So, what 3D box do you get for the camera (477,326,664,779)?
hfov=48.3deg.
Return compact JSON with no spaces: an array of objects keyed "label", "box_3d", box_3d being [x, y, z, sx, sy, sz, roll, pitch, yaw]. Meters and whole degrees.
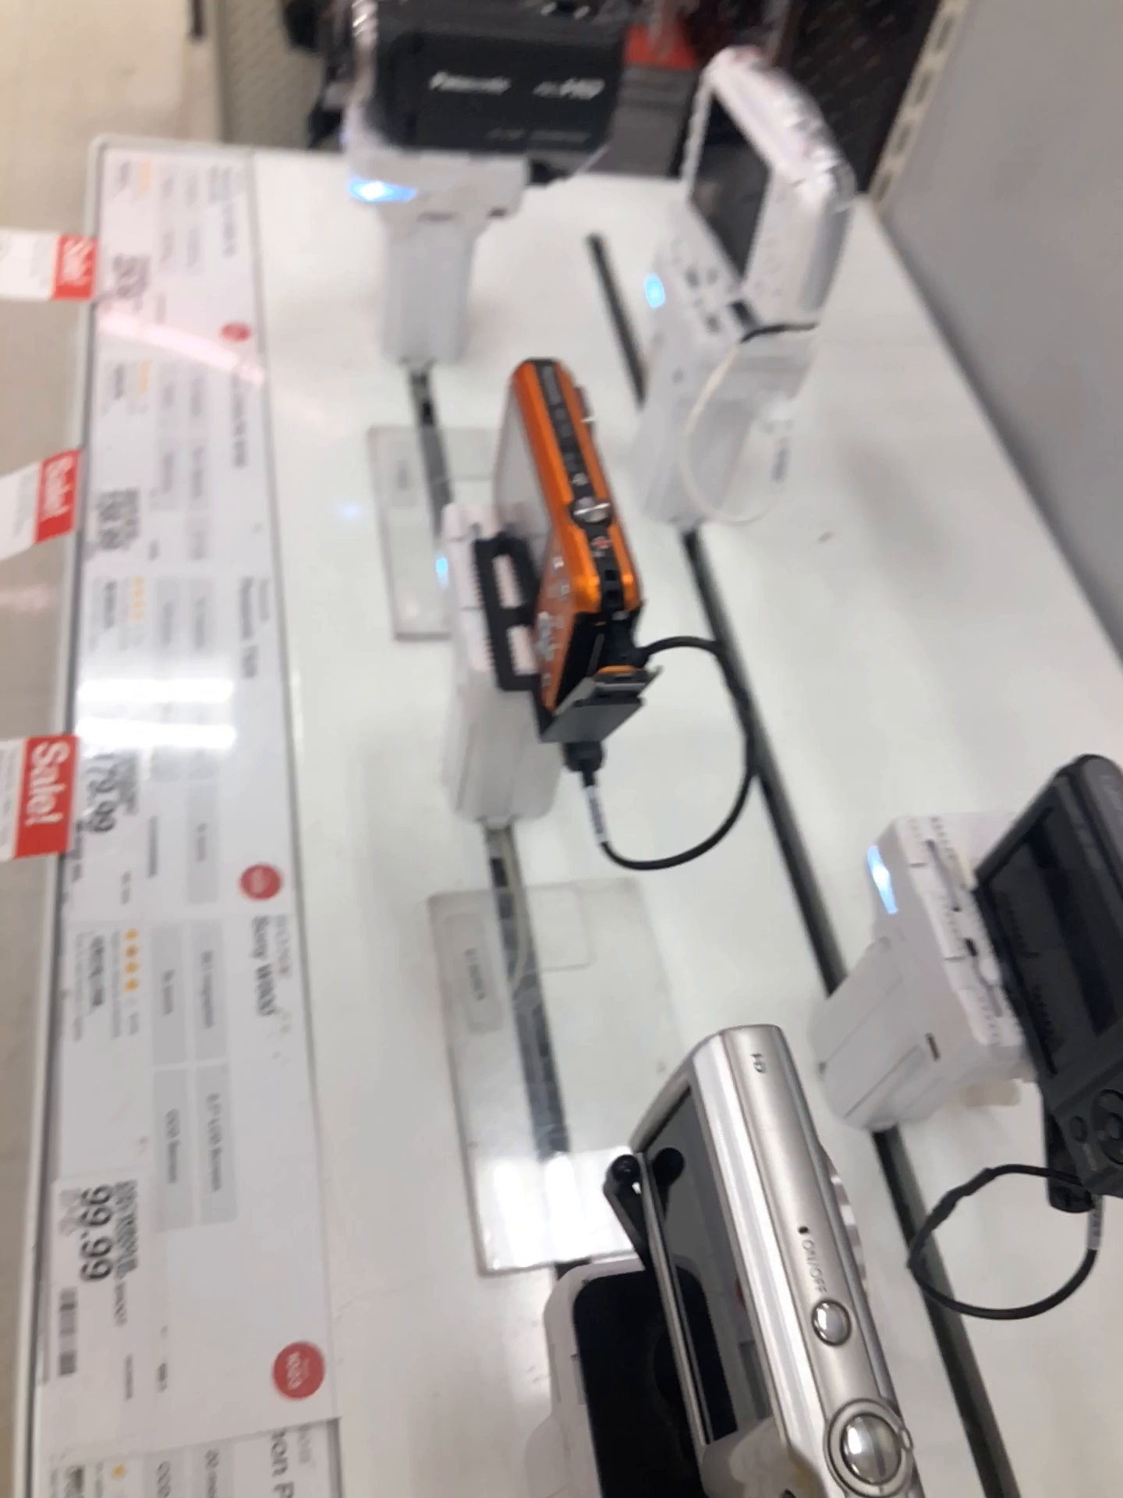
[{"label":"camera","box_3d":[-0.001,-0.058,0.359,0.020,0.060,0.120,-4,55,-14]}]
